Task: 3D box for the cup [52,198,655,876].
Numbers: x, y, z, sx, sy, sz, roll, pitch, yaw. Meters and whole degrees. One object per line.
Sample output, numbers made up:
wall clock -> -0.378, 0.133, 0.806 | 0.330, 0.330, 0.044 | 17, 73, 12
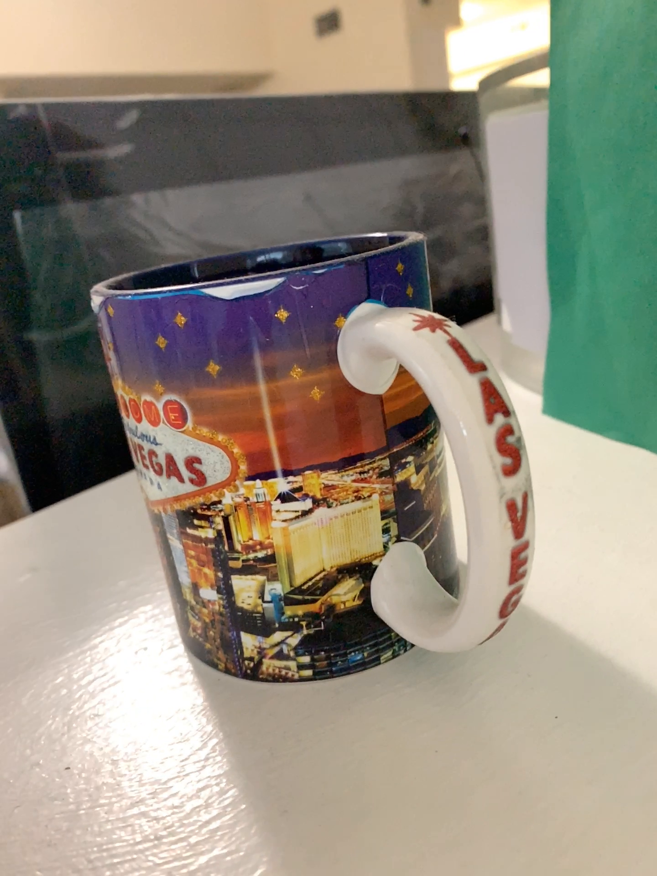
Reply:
cup -> 0.000, 0.004, 0.170 | 0.080, 0.100, 0.120 | -20, 22, -28
